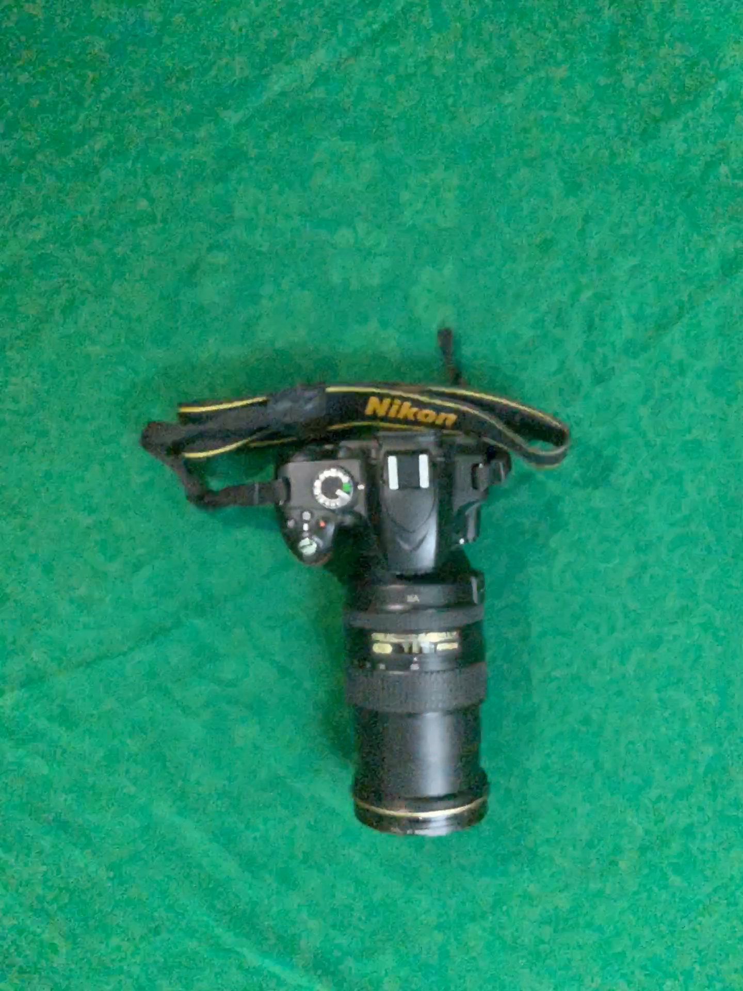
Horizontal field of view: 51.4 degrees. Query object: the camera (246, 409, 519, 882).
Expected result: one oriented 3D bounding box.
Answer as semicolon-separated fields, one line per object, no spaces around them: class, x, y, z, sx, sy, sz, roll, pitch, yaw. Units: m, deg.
camera;0.007;0.077;0.438;0.122;0.088;0.234;-4;91;1
